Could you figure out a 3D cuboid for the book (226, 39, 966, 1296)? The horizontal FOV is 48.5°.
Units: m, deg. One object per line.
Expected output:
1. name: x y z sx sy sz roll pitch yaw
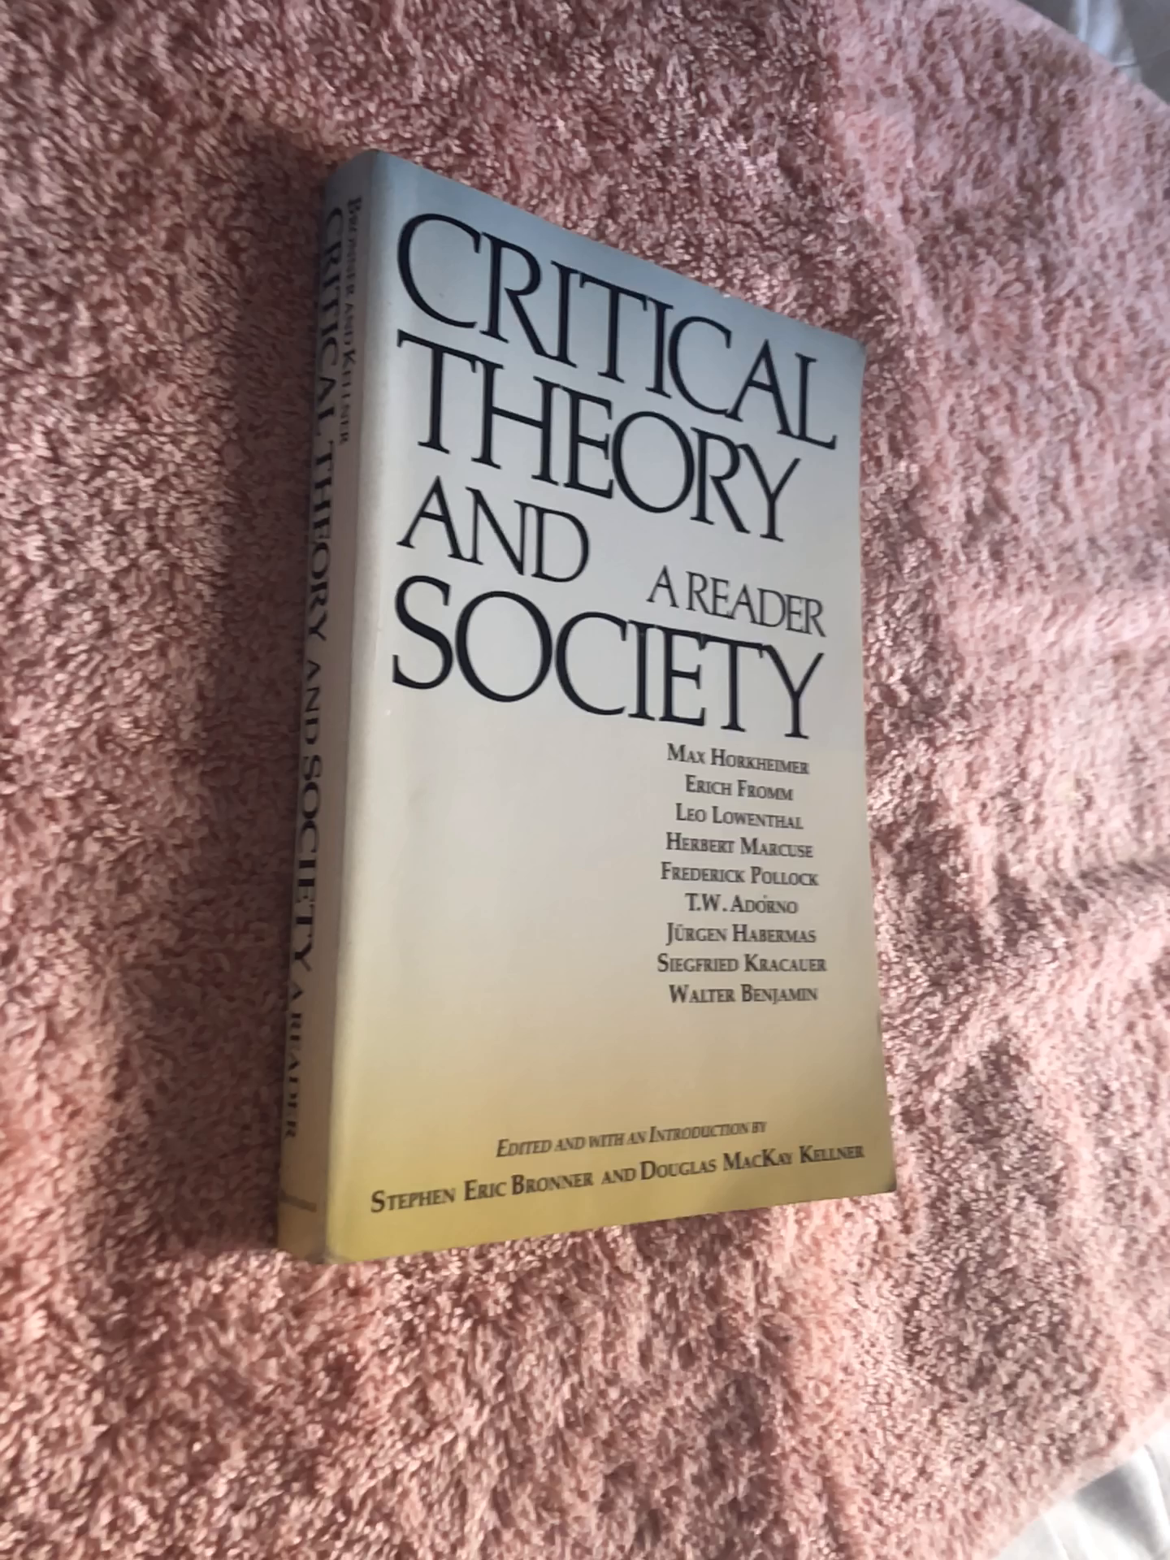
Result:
1. book: 0.013 -0.018 0.304 0.171 0.050 0.230 6 80 -38
